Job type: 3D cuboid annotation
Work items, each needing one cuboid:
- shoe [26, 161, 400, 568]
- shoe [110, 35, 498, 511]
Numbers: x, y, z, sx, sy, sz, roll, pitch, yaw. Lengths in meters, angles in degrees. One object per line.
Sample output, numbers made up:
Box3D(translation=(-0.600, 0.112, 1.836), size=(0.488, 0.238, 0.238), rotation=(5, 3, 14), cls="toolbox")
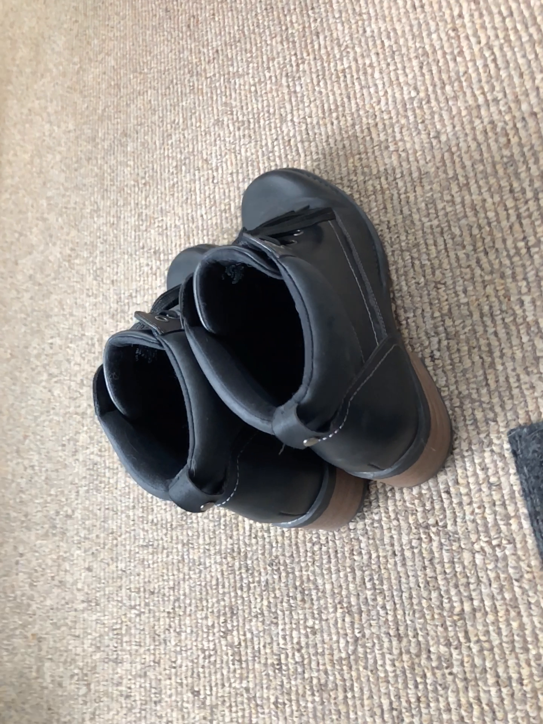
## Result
Box3D(translation=(-0.052, 0.001, 0.437), size=(0.097, 0.165, 0.268), rotation=(-45, 53, 20), cls="shoe")
Box3D(translation=(0.012, -0.054, 0.396), size=(0.094, 0.162, 0.273), rotation=(-37, 56, 25), cls="shoe")
